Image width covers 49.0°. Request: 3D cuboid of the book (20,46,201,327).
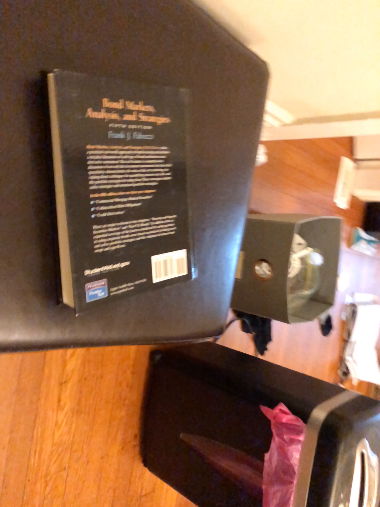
[{"bbox_3d":[-0.073,-0.073,0.474,0.201,0.040,0.260,-13,107,-44],"label":"book"}]
